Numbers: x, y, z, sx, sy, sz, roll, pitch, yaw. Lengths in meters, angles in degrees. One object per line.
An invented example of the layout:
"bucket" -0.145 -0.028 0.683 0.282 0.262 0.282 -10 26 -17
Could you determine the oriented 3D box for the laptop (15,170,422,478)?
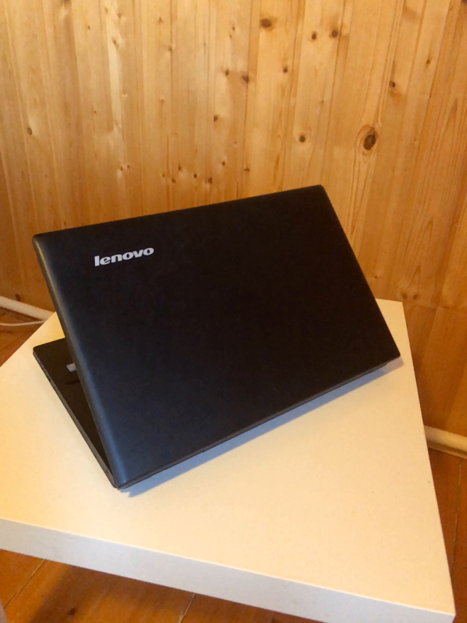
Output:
"laptop" -0.020 -0.028 0.634 0.389 0.179 0.261 -18 35 -30
